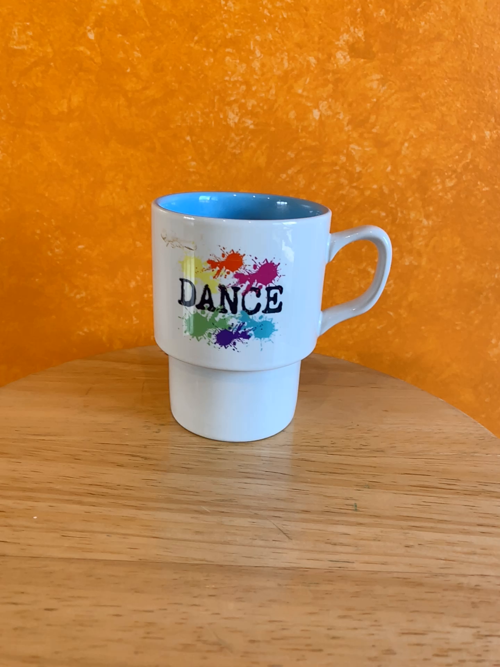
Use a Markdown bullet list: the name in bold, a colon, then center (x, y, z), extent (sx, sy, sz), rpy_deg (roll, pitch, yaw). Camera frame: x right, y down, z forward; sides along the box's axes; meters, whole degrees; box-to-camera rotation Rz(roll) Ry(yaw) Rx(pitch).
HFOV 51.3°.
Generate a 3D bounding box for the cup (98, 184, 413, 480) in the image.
- **cup**: center (0.003, -0.008, 0.253), extent (0.120, 0.109, 0.080), rpy_deg (6, 22, 7)
